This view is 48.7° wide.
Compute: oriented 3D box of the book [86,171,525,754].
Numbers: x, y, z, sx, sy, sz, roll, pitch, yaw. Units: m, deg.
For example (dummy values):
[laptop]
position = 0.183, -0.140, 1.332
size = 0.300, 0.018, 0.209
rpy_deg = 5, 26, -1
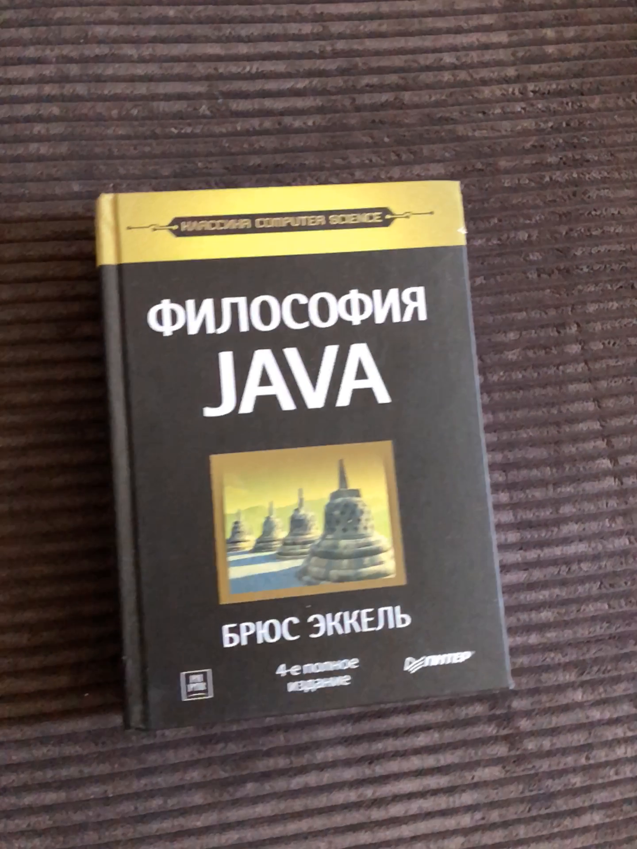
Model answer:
[book]
position = -0.009, 0.011, 0.336
size = 0.171, 0.060, 0.239
rpy_deg = -5, 85, -7
